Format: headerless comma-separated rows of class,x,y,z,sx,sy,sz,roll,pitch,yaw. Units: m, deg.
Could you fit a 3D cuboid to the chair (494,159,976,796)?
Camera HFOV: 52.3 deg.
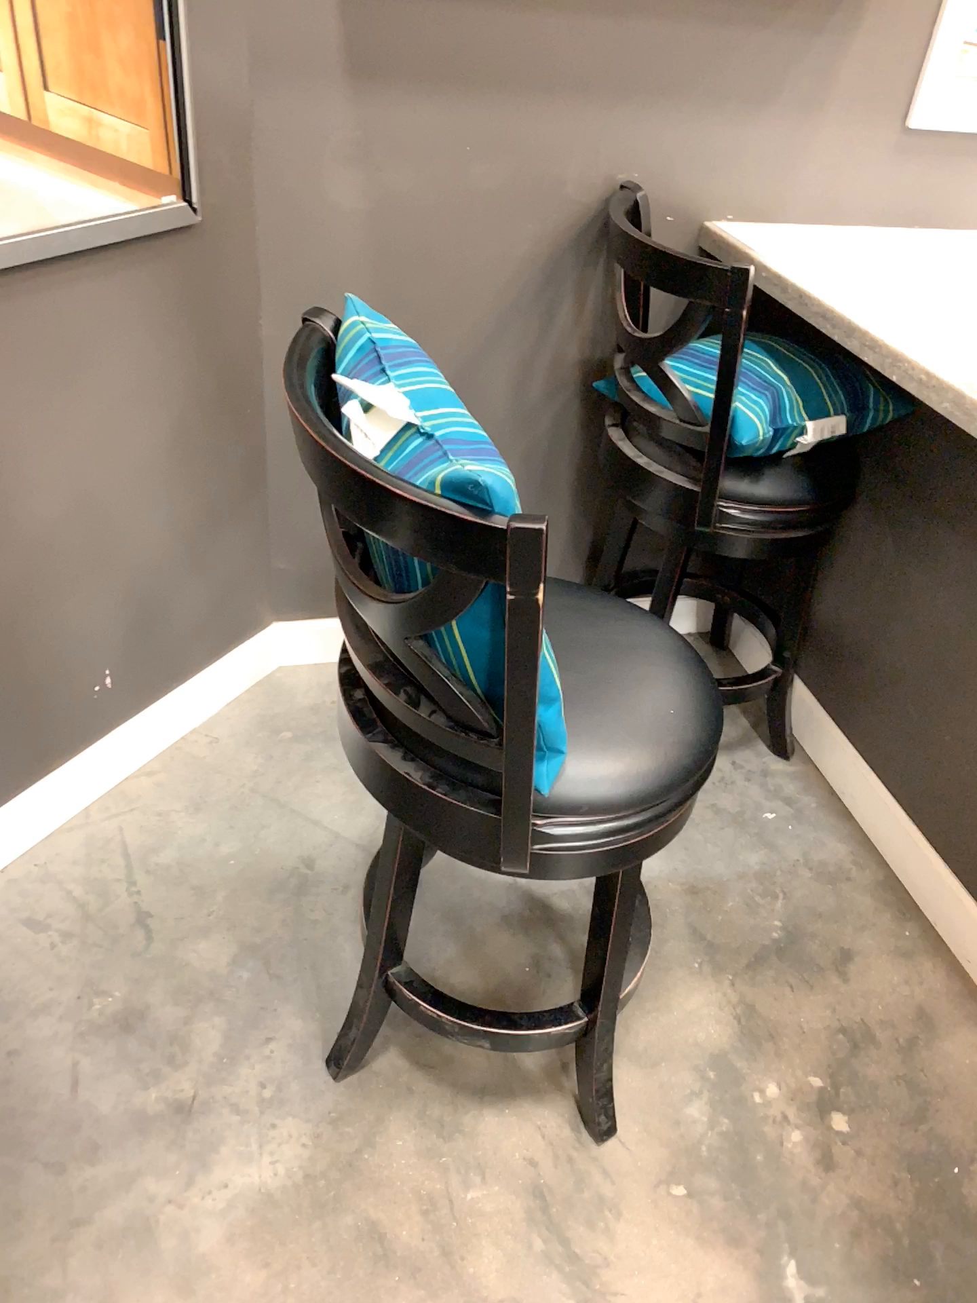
chair,0.412,-0.295,1.768,0.595,0.923,0.538,-4,38,-15

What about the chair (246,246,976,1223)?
chair,0.064,0.097,1.130,0.595,0.903,0.538,-4,38,-15
